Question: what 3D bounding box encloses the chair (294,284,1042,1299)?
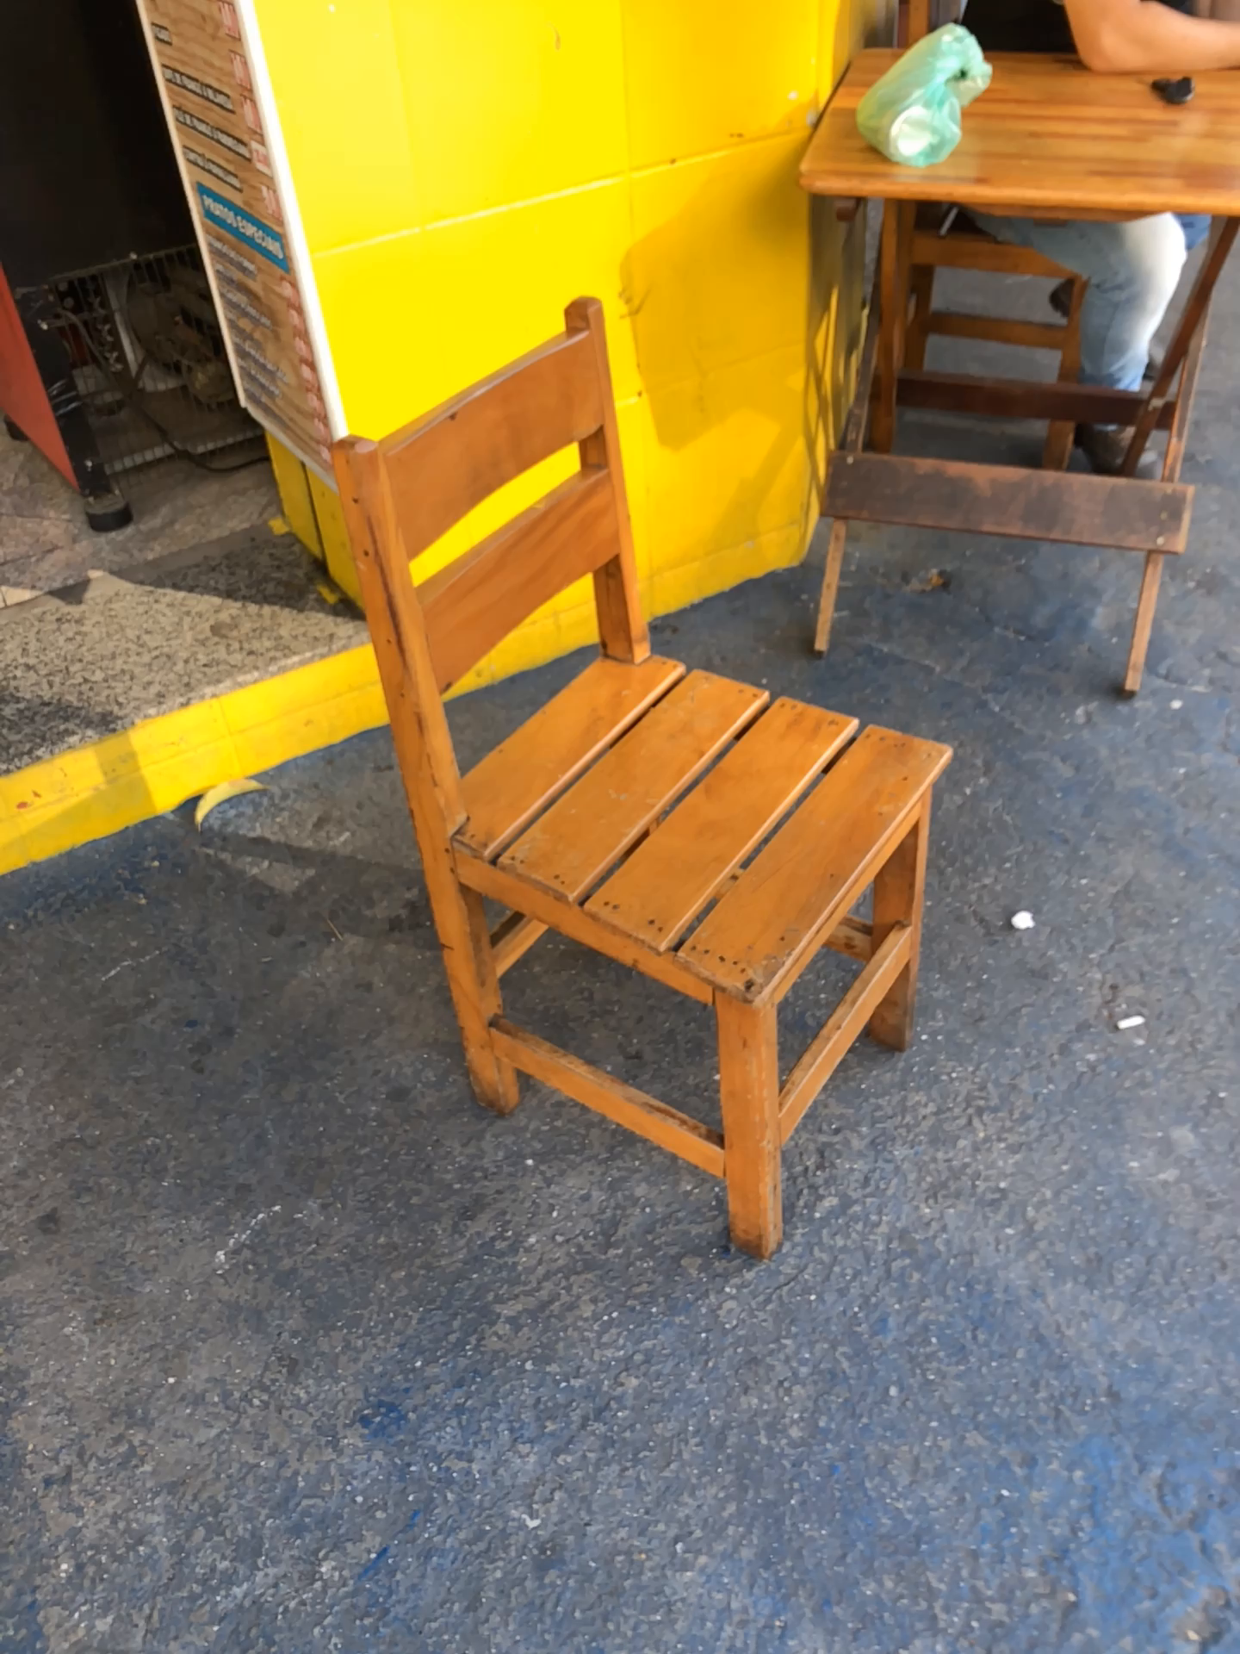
[{"bbox_3d":[0.069,-0.022,1.323,0.441,0.804,0.402,21,46,27],"label":"chair"}]
